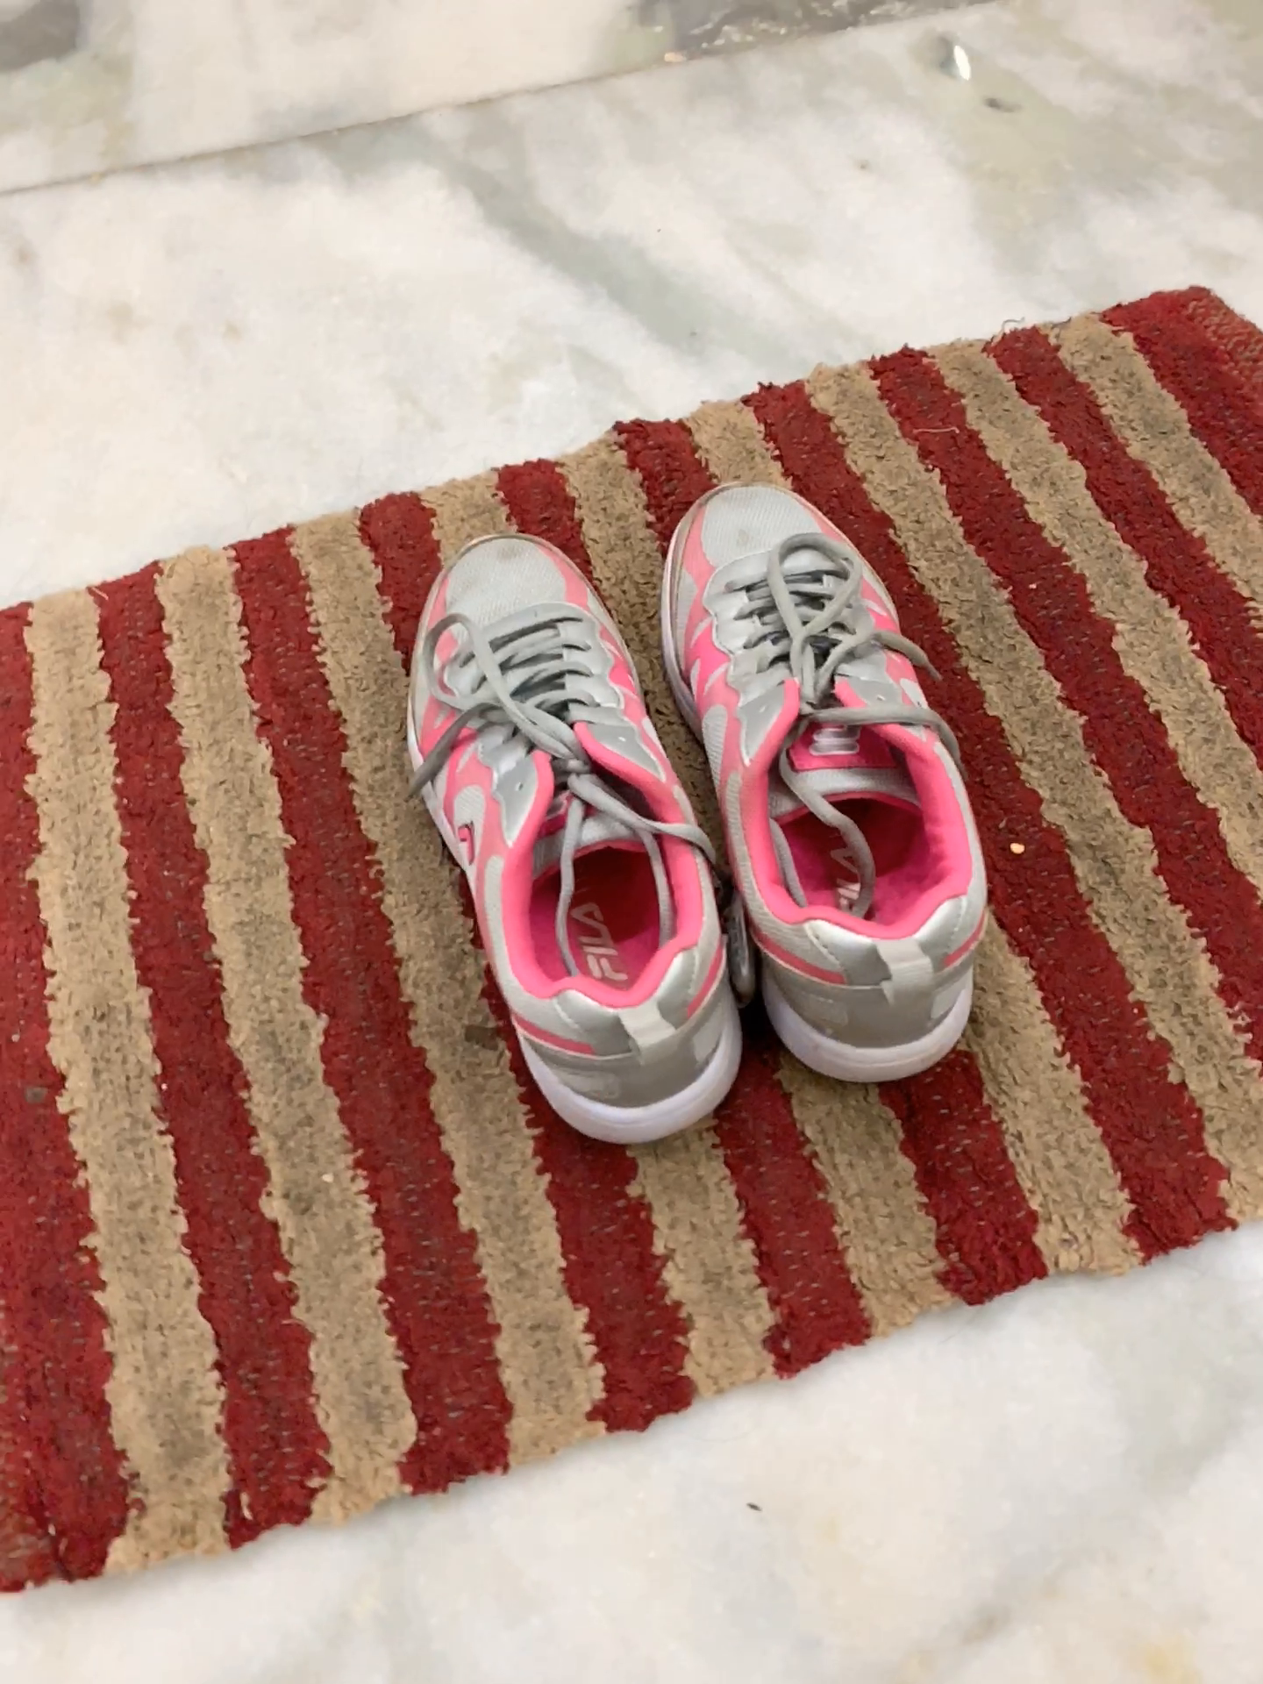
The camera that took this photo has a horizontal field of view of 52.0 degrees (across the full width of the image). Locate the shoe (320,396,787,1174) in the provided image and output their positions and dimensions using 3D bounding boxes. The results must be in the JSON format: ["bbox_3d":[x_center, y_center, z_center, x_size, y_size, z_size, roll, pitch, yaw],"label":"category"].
[{"bbox_3d":[-0.030,-0.022,0.440,0.090,0.100,0.231,-16,64,-4],"label":"shoe"}]

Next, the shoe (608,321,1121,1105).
[{"bbox_3d":[0.063,-0.046,0.433,0.100,0.100,0.231,-10,64,-1],"label":"shoe"}]
